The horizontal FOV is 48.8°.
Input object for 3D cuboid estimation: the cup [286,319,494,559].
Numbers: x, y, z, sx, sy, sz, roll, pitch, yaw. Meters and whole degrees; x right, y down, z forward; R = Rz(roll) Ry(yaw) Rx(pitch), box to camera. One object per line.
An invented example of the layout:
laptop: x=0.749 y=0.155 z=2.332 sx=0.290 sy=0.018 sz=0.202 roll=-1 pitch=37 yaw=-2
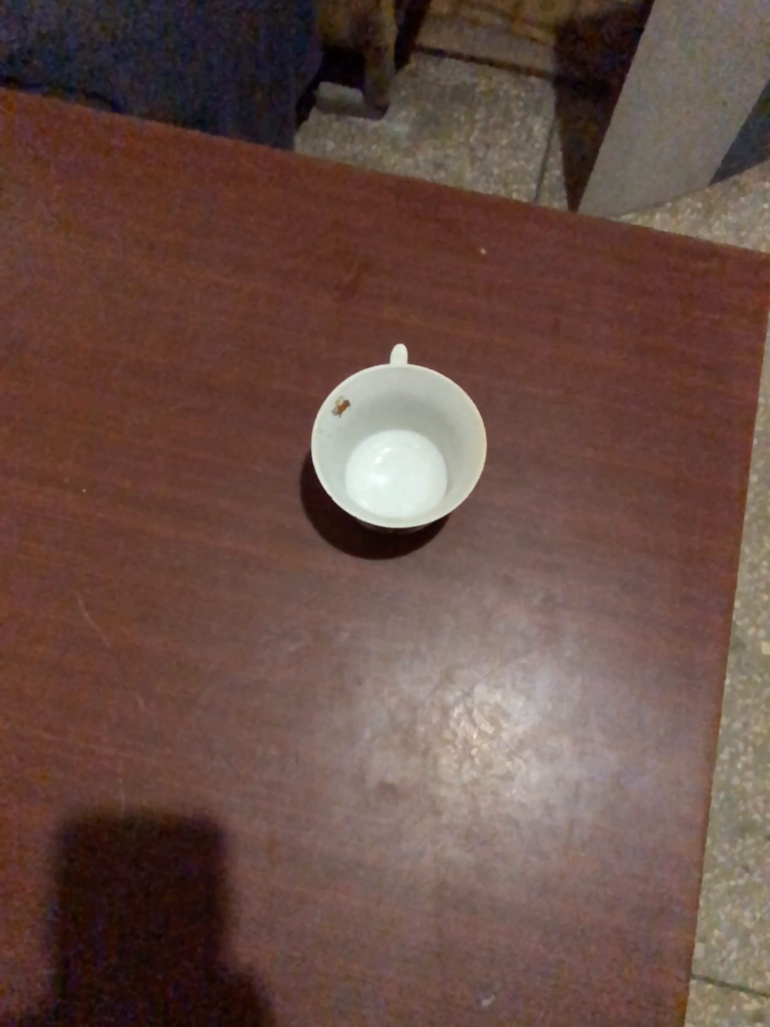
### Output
cup: x=0.004 y=-0.039 z=0.467 sx=0.100 sy=0.059 sz=0.110 roll=4 pitch=73 yaw=0
